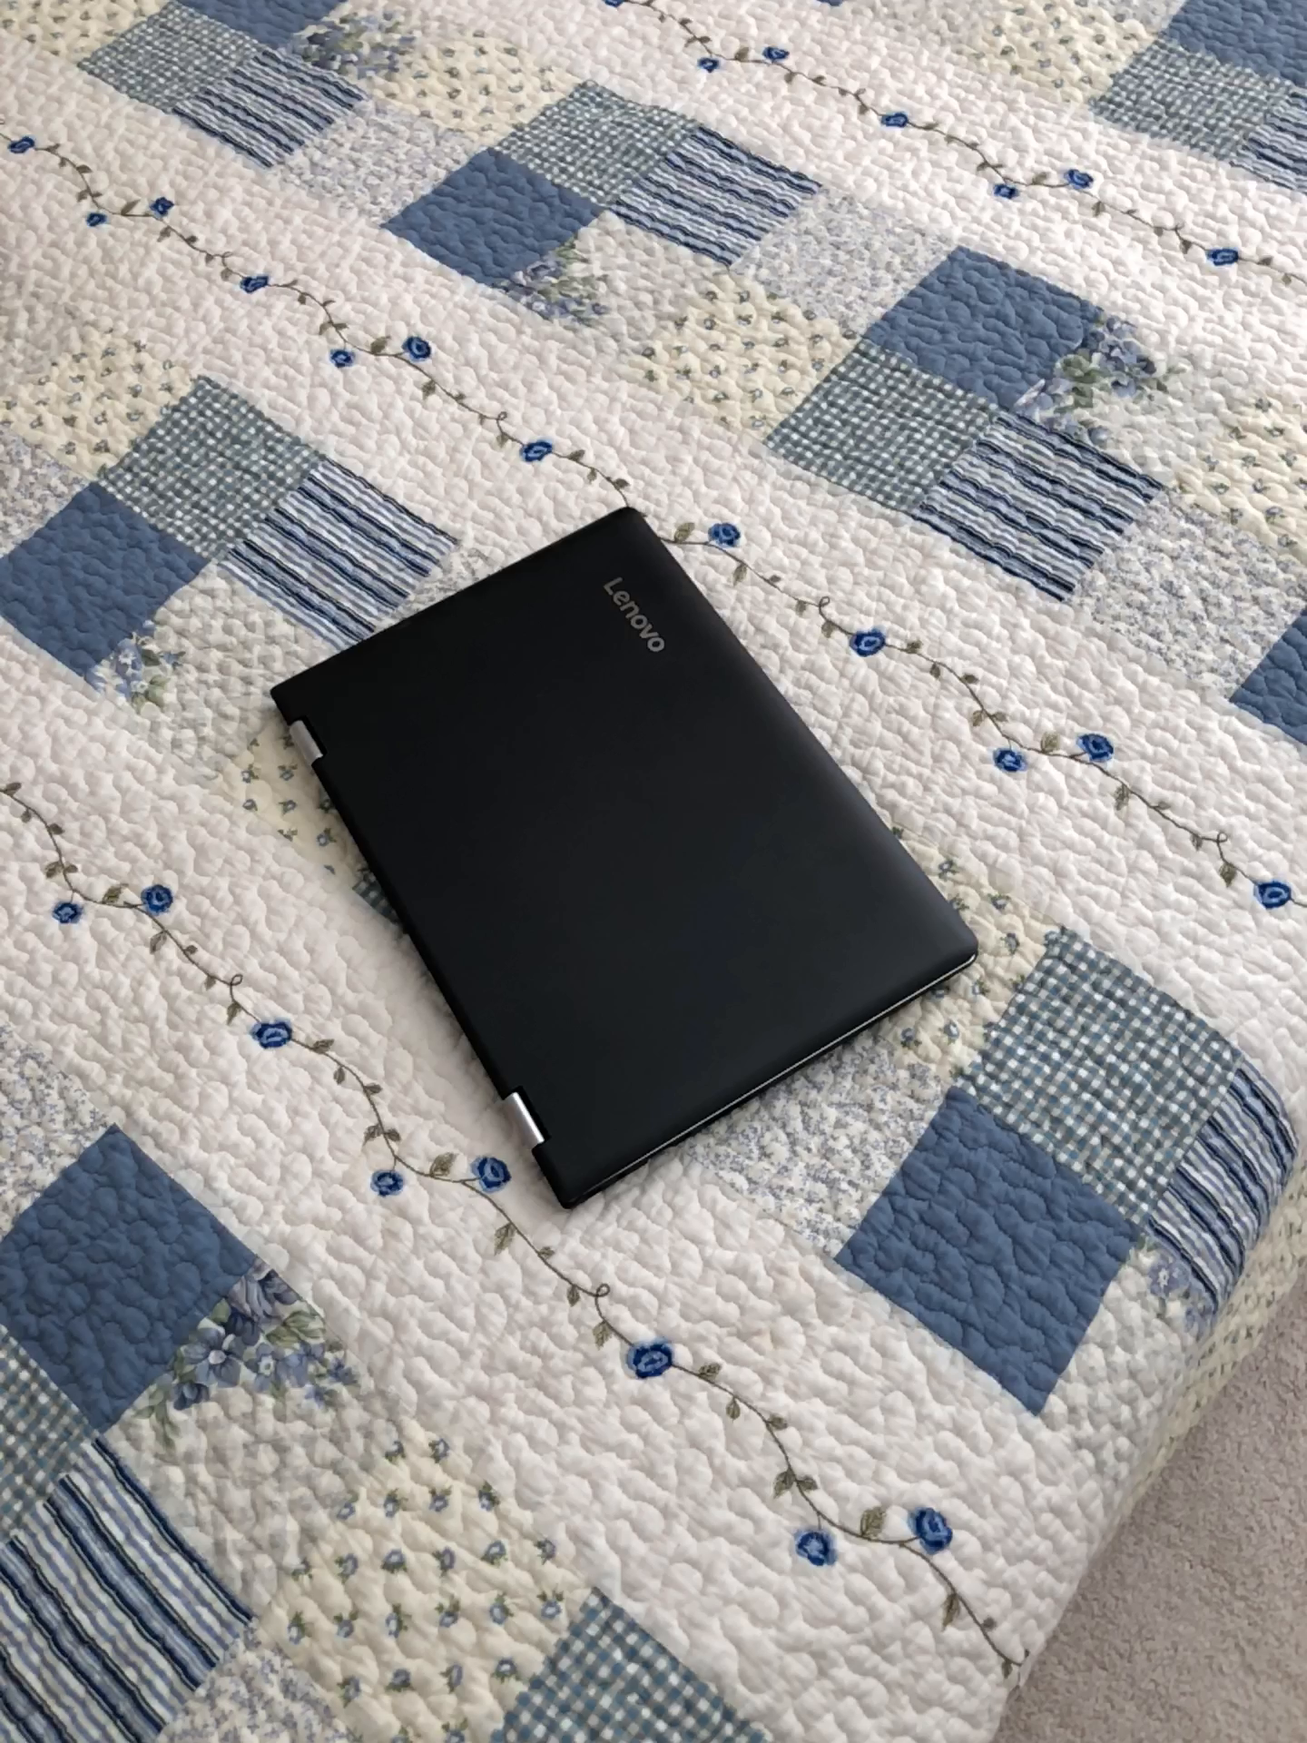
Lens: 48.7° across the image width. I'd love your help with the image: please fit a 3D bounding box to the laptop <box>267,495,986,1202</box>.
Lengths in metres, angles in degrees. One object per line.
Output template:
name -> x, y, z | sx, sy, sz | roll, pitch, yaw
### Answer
laptop -> -0.026, -0.032, 0.712 | 0.223, 0.008, 0.321 | -30, 63, -9
